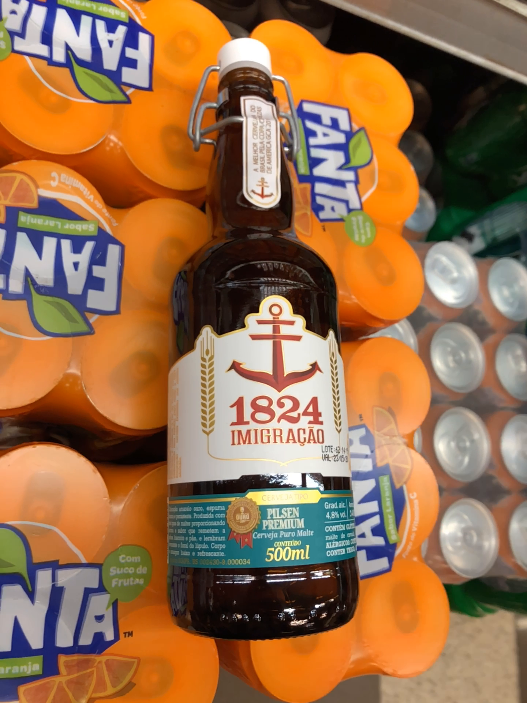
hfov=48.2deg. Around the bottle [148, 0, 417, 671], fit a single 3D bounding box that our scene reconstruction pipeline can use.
[{"bbox_3d":[0.003,-0.024,0.232,0.080,0.050,0.250,4,77,-25],"label":"bottle"}]
